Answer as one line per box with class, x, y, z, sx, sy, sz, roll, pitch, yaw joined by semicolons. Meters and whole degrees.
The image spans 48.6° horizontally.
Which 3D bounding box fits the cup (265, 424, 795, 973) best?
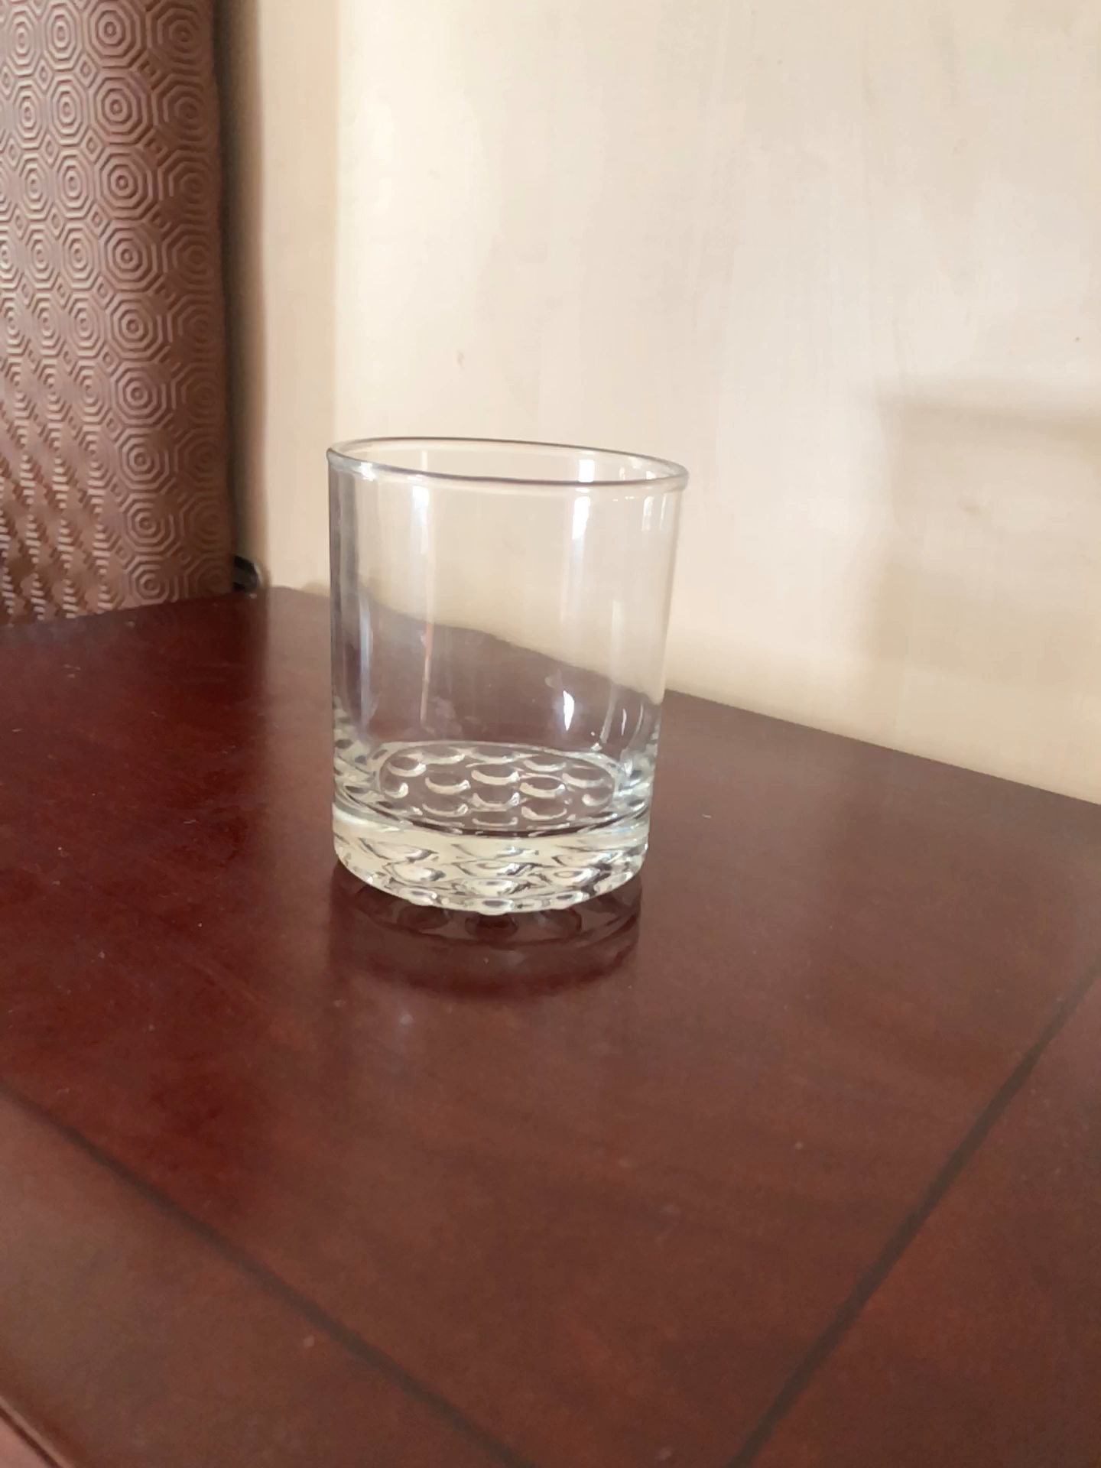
cup;-0.008;-0.017;0.278;0.082;0.097;0.081;3;18;-1
